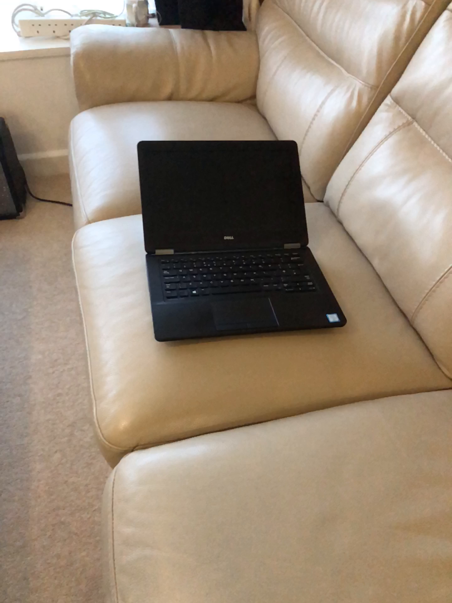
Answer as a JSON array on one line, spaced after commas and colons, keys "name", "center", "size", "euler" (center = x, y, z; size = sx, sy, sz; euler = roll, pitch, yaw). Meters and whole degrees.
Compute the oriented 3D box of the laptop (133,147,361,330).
[{"name": "laptop", "center": [0.008, -0.132, 0.859], "size": [0.306, 0.124, 0.377], "euler": [-4, 41, -10]}]
